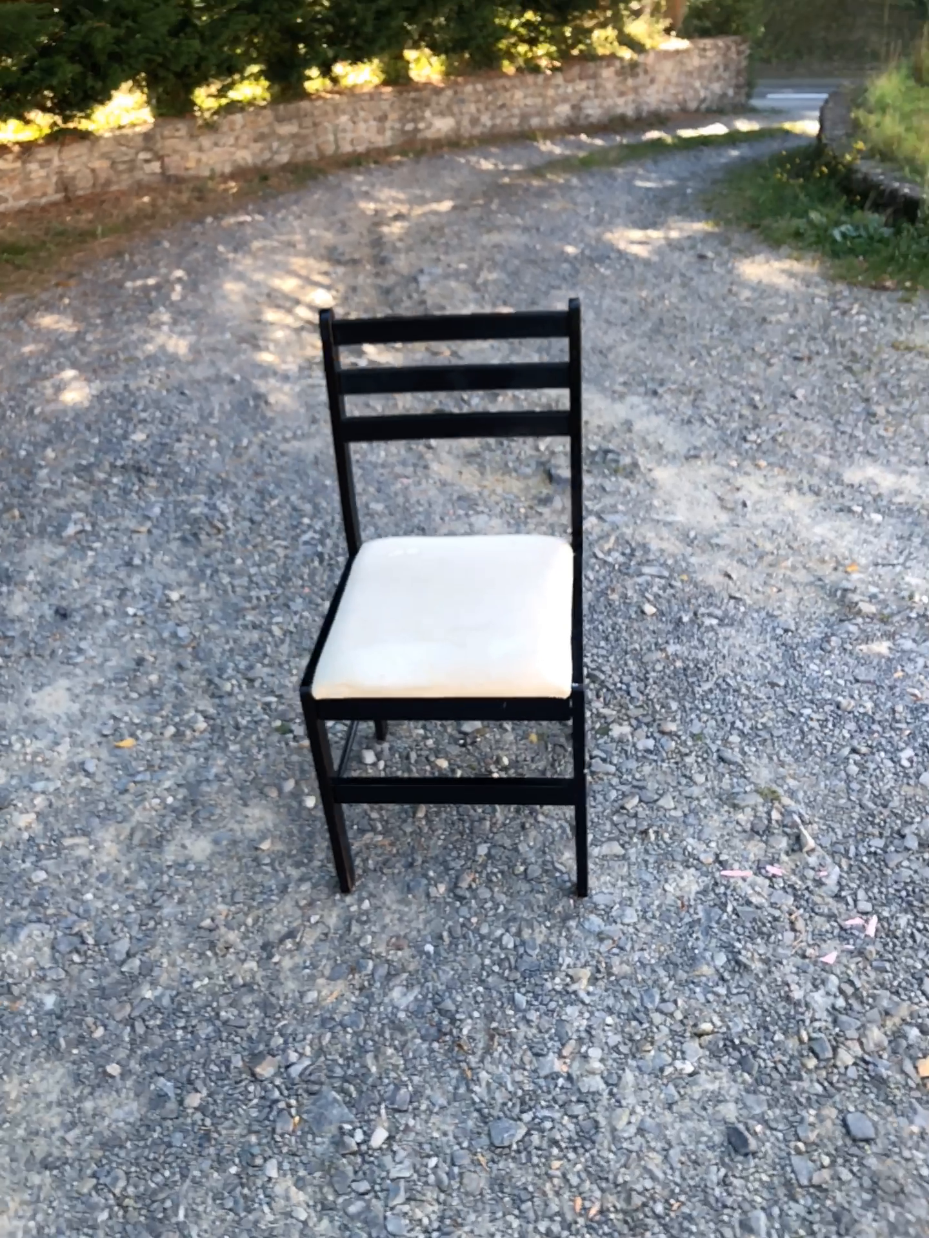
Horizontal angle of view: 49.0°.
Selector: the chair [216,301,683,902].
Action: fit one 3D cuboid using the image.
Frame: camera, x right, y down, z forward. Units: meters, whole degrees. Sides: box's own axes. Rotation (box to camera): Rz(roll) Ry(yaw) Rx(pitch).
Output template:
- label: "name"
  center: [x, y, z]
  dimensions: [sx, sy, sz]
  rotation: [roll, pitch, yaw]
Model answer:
- label: "chair"
  center: [0.005, -0.027, 1.614]
  dimensions: [0.540, 0.775, 0.533]
  rotation: [0, 34, 3]
